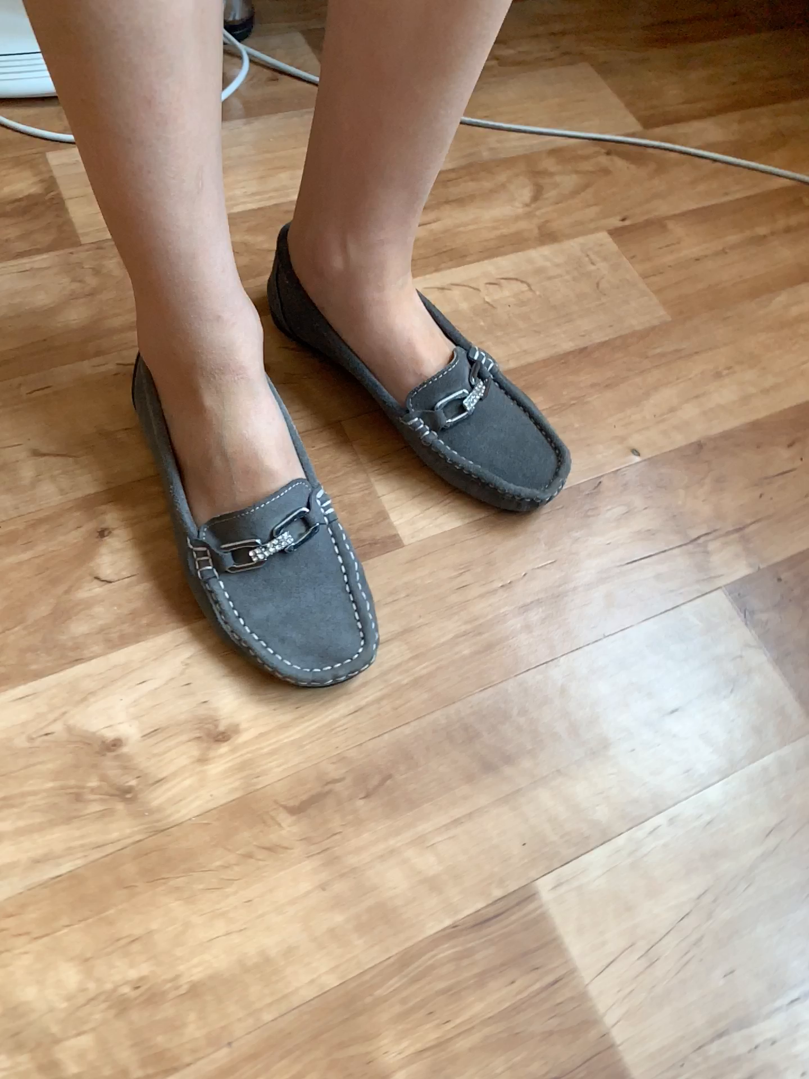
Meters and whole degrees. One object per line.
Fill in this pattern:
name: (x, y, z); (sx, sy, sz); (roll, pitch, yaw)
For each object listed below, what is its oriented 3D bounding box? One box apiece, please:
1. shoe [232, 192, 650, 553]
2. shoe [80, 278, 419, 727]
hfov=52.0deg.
shoe: (0.017, -0.109, 0.521); (0.240, 0.060, 0.100); (36, 62, 10)
shoe: (-0.091, -0.029, 0.467); (0.090, 0.060, 0.240); (-23, 68, -17)
